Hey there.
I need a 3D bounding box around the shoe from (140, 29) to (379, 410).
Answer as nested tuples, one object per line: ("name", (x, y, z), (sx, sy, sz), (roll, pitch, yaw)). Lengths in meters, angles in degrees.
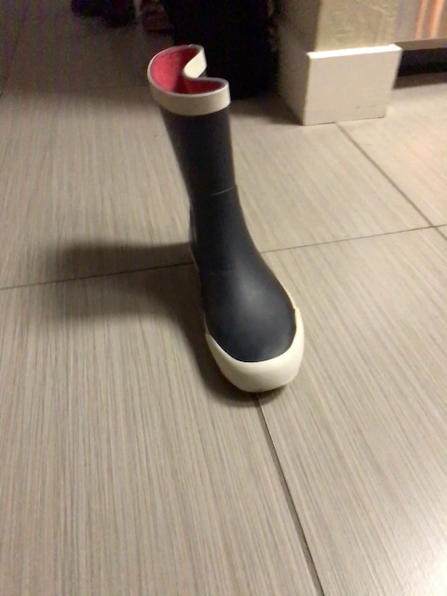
("shoe", (0.012, -0.085, 0.449), (0.102, 0.216, 0.280), (-13, 44, -9))
